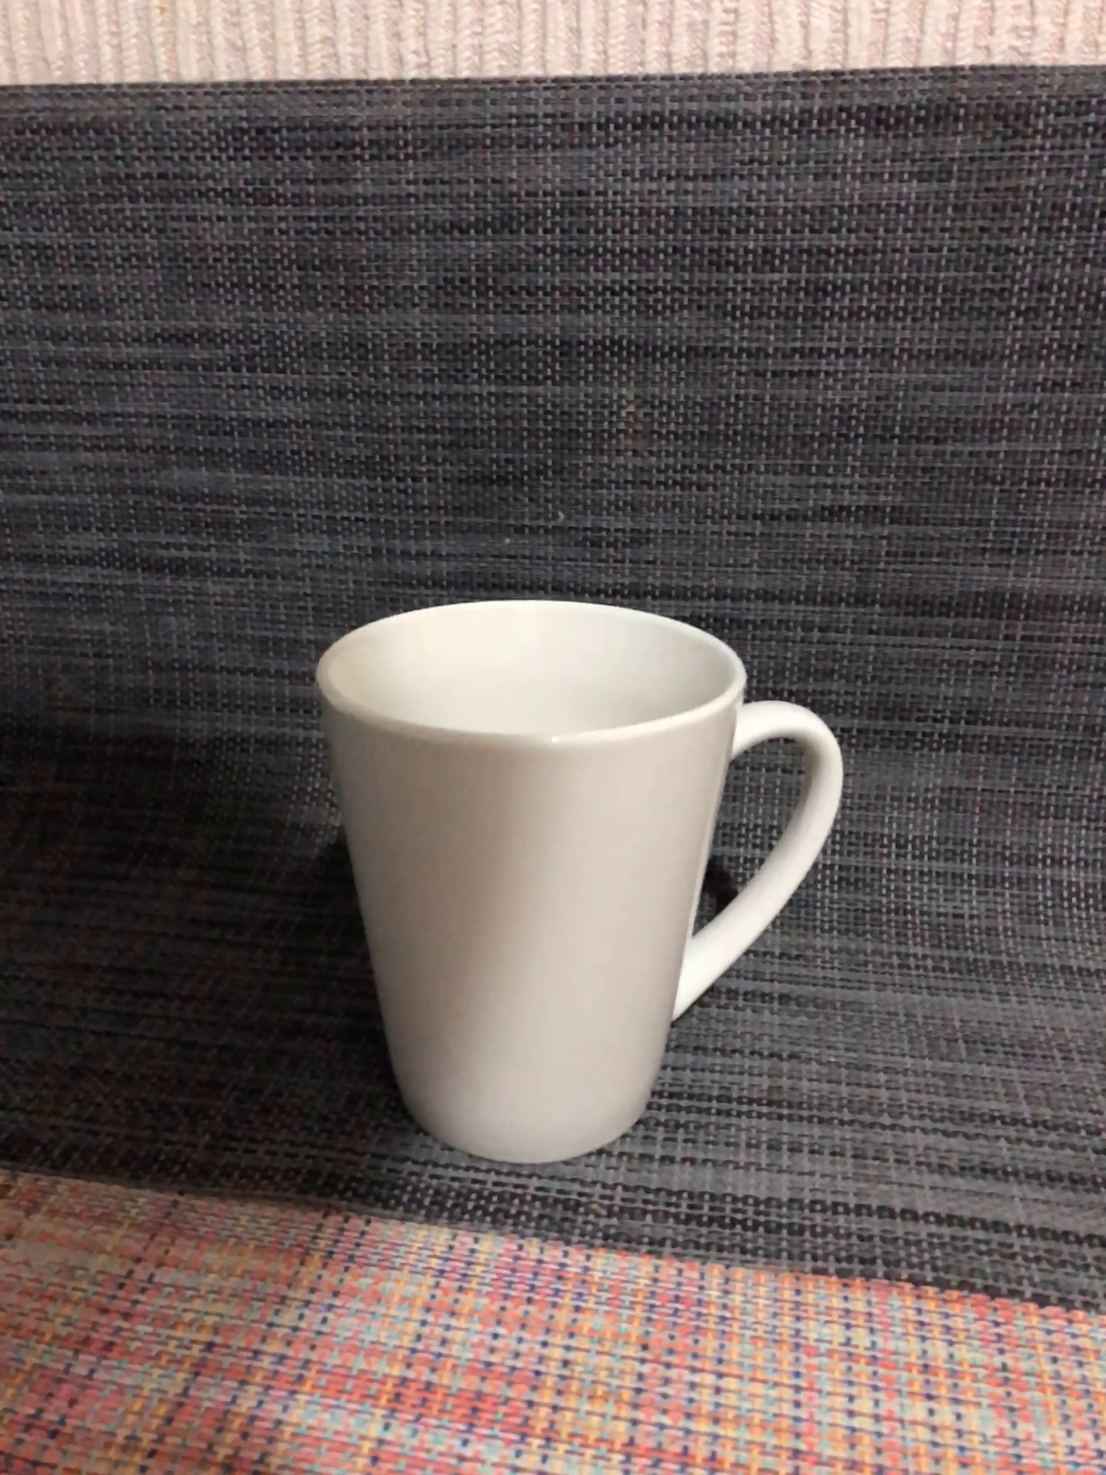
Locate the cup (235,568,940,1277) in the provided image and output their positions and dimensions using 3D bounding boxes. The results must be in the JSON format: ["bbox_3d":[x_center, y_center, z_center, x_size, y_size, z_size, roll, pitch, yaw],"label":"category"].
[{"bbox_3d":[0.000,0.027,0.260,0.112,0.096,0.097,-7,23,-19],"label":"cup"}]
